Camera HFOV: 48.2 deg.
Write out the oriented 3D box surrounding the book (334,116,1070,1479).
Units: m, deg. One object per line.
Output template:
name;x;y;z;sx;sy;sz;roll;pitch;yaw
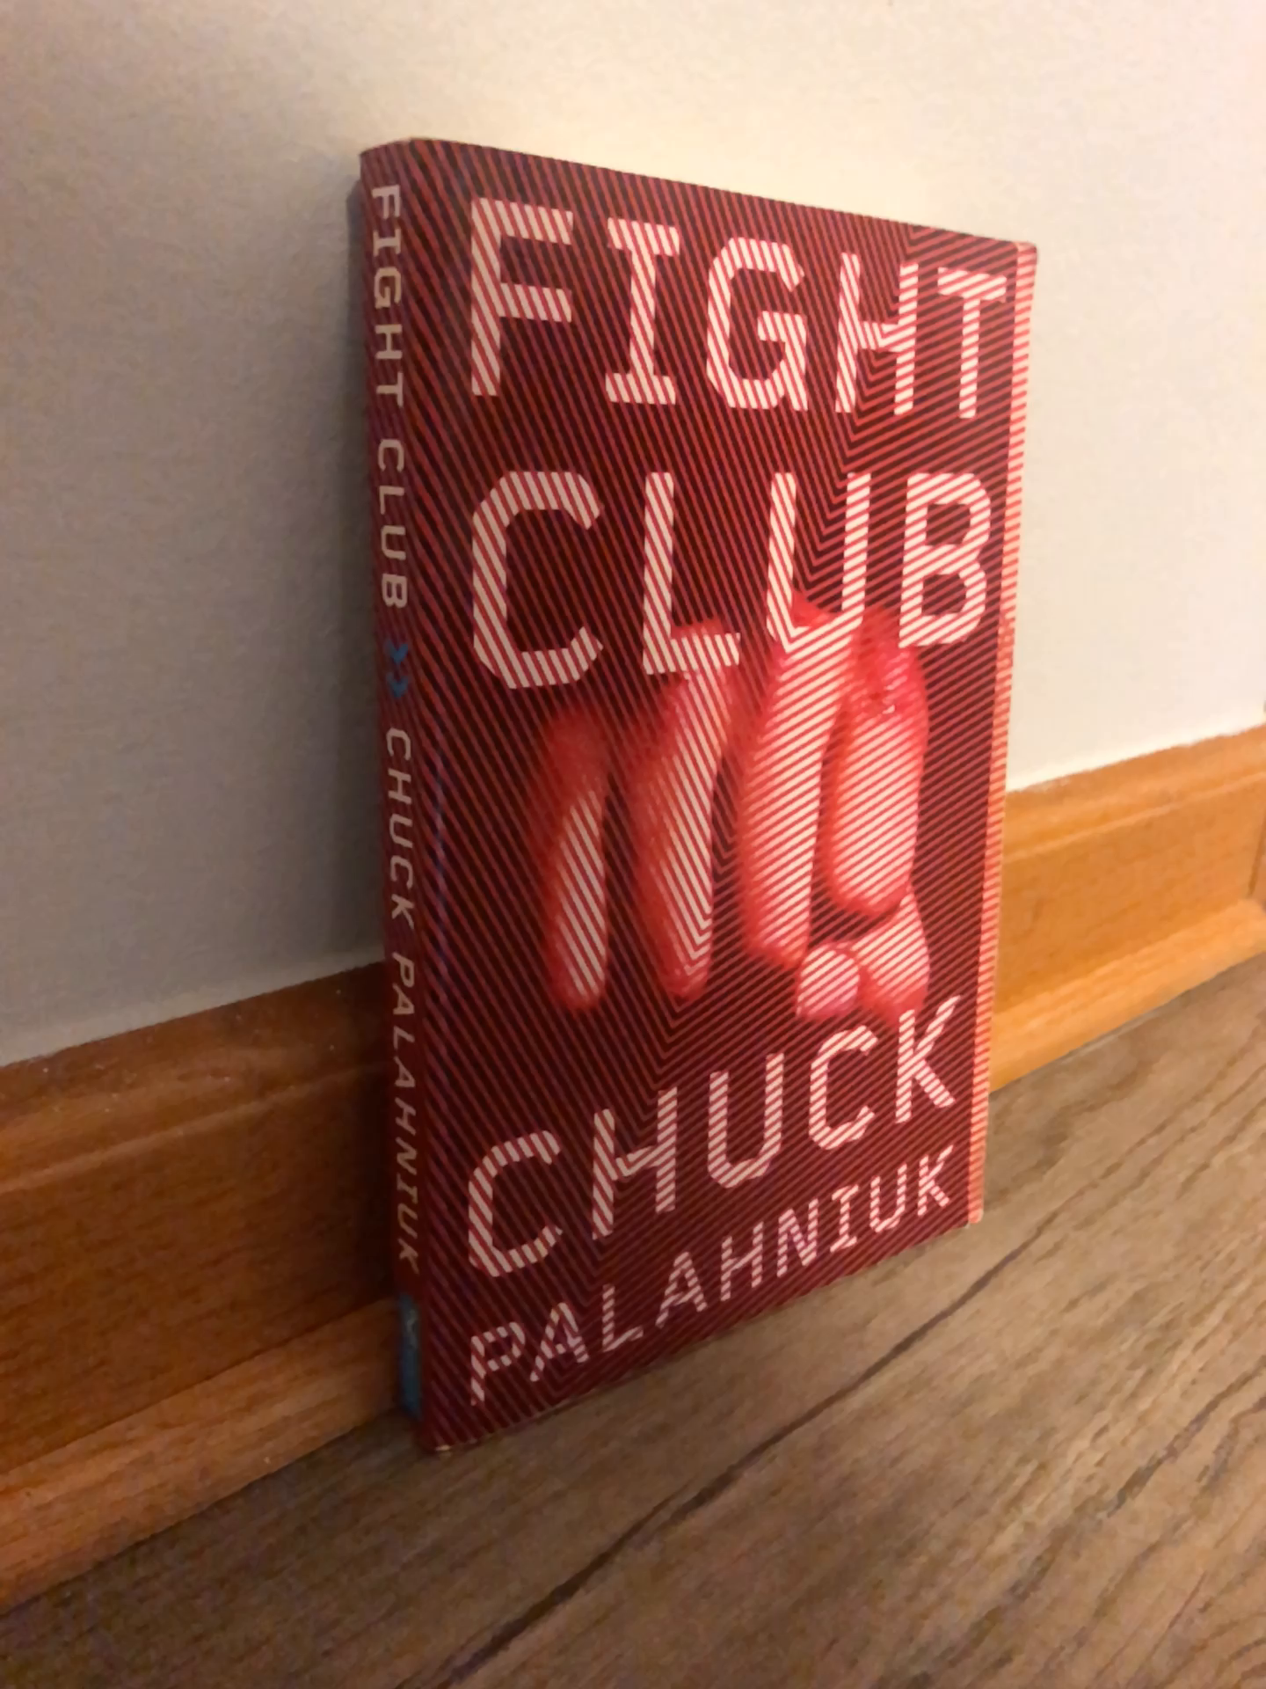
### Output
book;0.016;-0.007;0.266;0.139;0.210;0.030;-10;19;-37
